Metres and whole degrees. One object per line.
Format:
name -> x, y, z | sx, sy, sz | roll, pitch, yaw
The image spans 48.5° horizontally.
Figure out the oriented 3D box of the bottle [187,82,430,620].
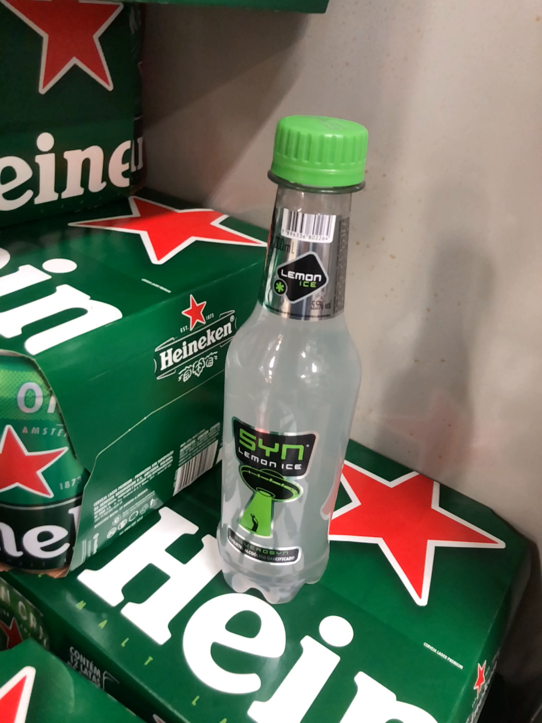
bottle -> 0.008, 0.006, 0.247 | 0.060, 0.208, 0.060 | 5, 32, -3
